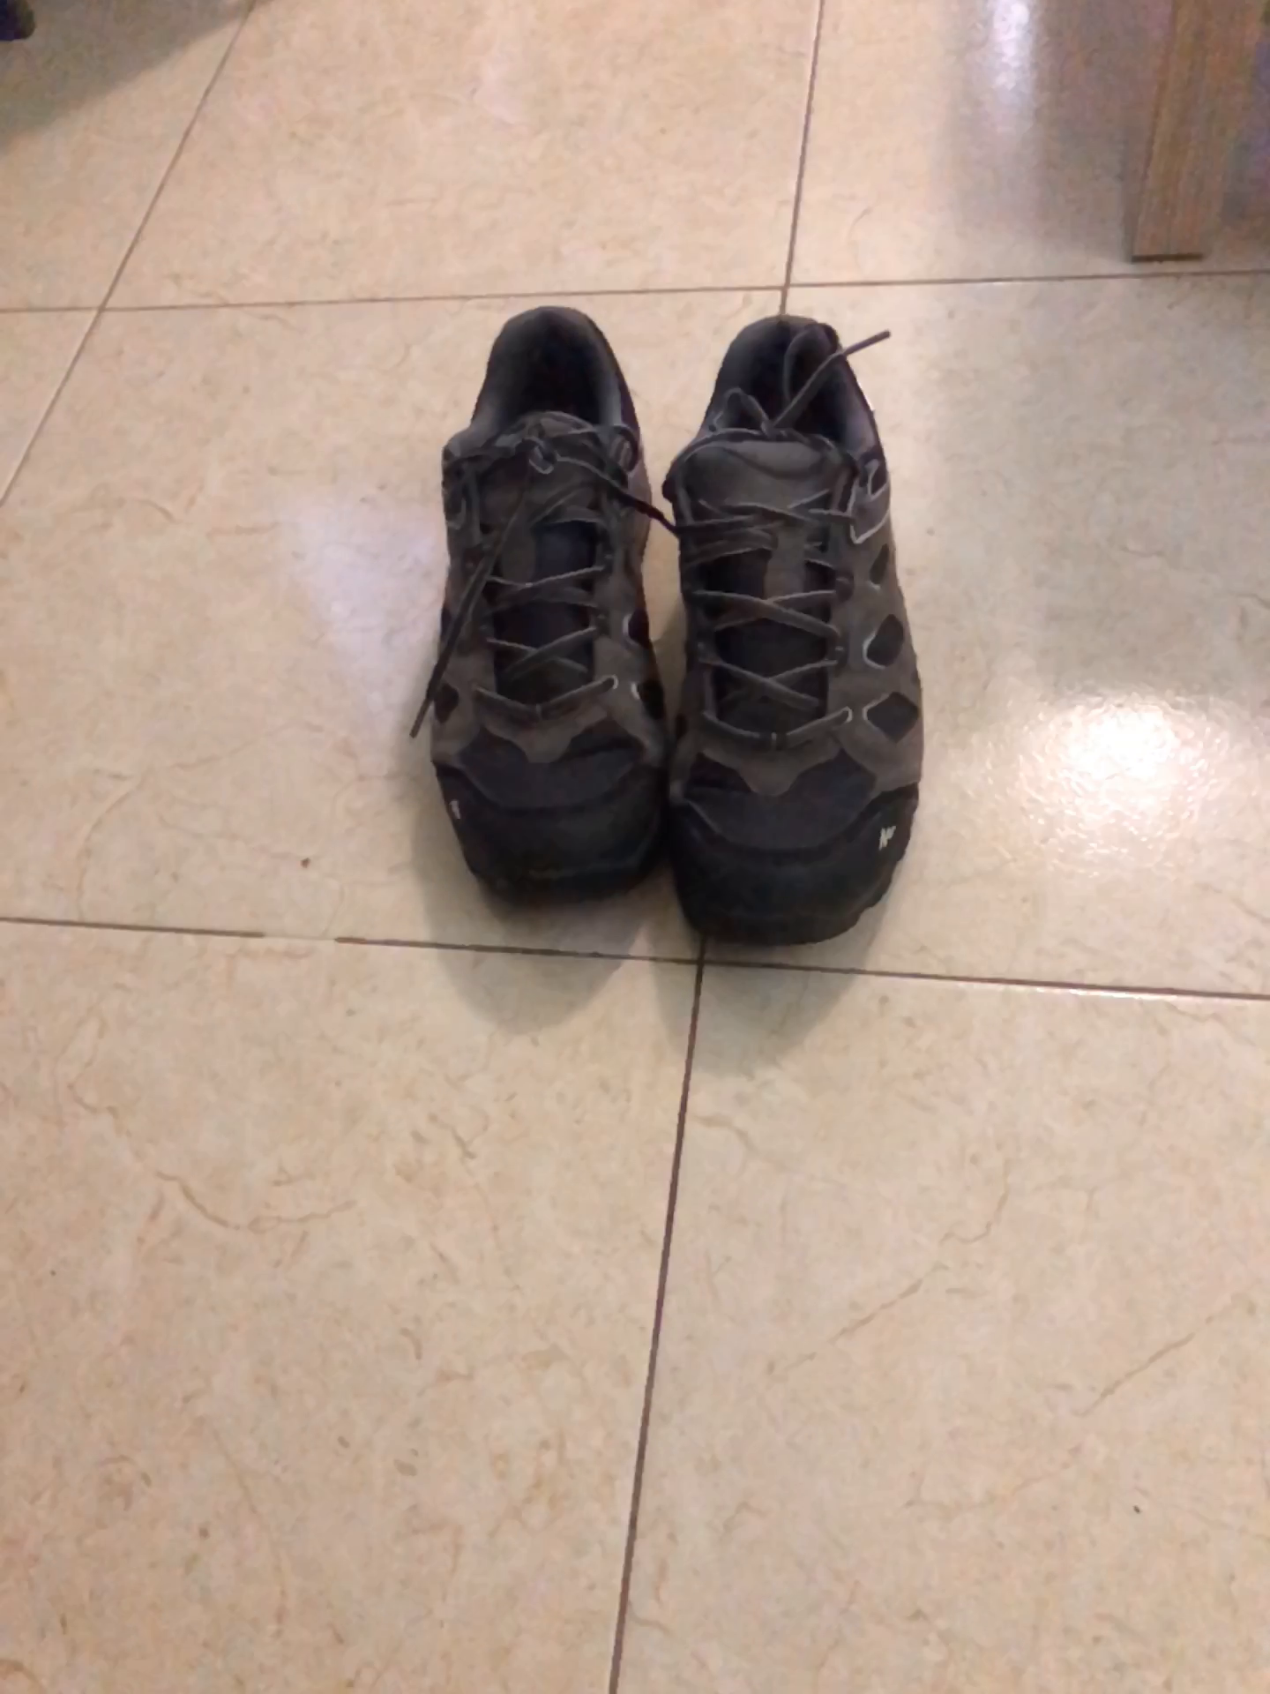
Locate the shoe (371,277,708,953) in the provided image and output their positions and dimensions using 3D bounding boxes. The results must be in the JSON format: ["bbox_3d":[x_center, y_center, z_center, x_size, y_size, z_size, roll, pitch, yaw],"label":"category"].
[{"bbox_3d":[-0.038,-0.117,0.665,0.120,0.110,0.311,-5,57,6],"label":"shoe"}]

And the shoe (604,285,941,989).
[{"bbox_3d":[0.069,-0.101,0.629,0.120,0.110,0.311,0,58,10],"label":"shoe"}]
